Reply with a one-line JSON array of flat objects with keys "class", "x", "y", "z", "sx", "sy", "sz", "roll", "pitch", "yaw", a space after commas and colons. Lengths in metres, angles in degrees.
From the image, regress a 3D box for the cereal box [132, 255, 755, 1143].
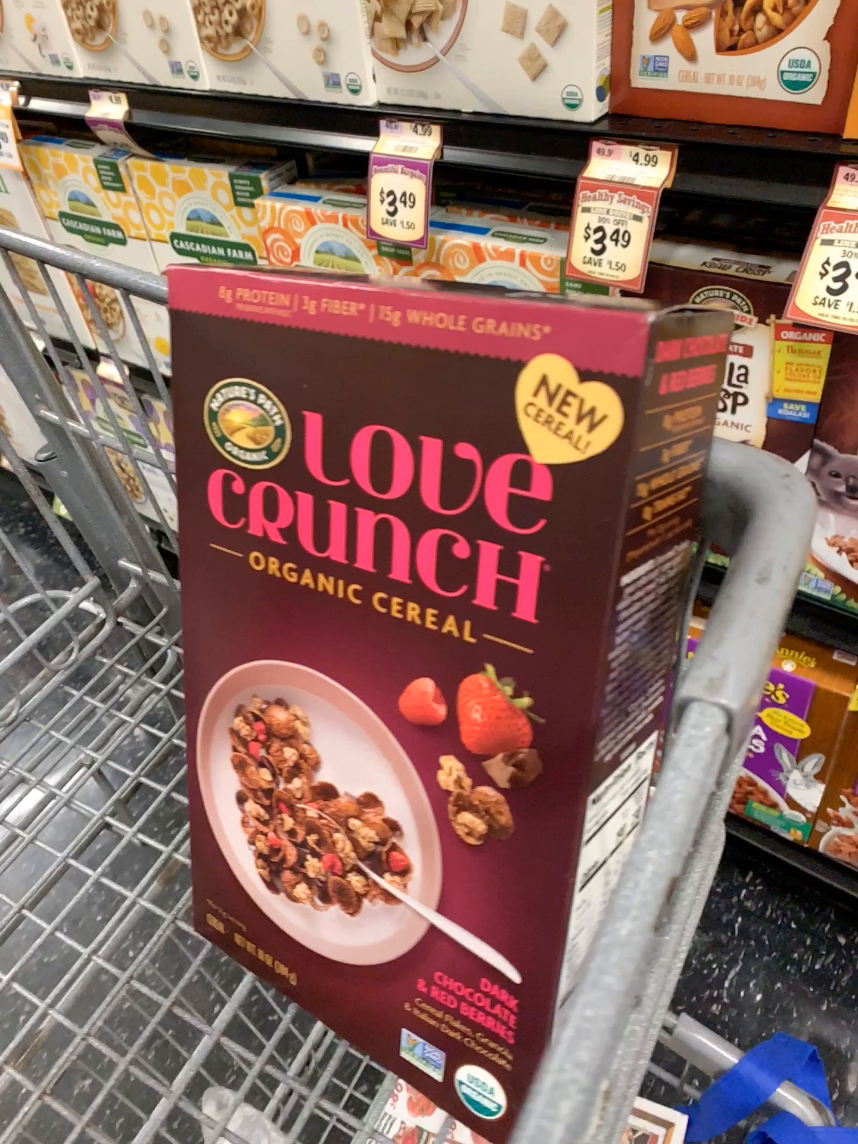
[{"class": "cereal box", "x": -0.010, "y": 0.037, "z": 0.280, "sx": 0.160, "sy": 0.249, "sz": 0.060, "roll": 18, "pitch": 26, "yaw": 32}]
